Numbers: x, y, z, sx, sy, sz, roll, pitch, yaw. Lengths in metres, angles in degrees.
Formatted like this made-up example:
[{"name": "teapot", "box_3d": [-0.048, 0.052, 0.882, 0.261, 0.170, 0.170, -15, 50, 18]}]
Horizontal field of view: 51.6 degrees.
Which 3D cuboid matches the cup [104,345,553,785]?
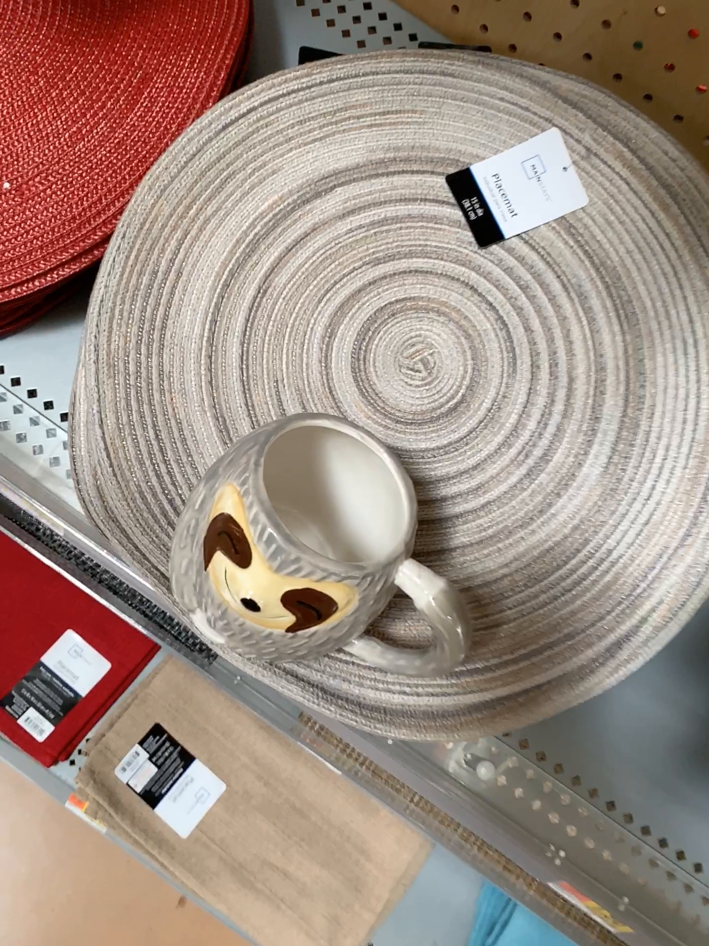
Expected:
[{"name": "cup", "box_3d": [-0.011, 0.043, 0.331, 0.150, 0.089, 0.106, 36, 51, -3]}]
